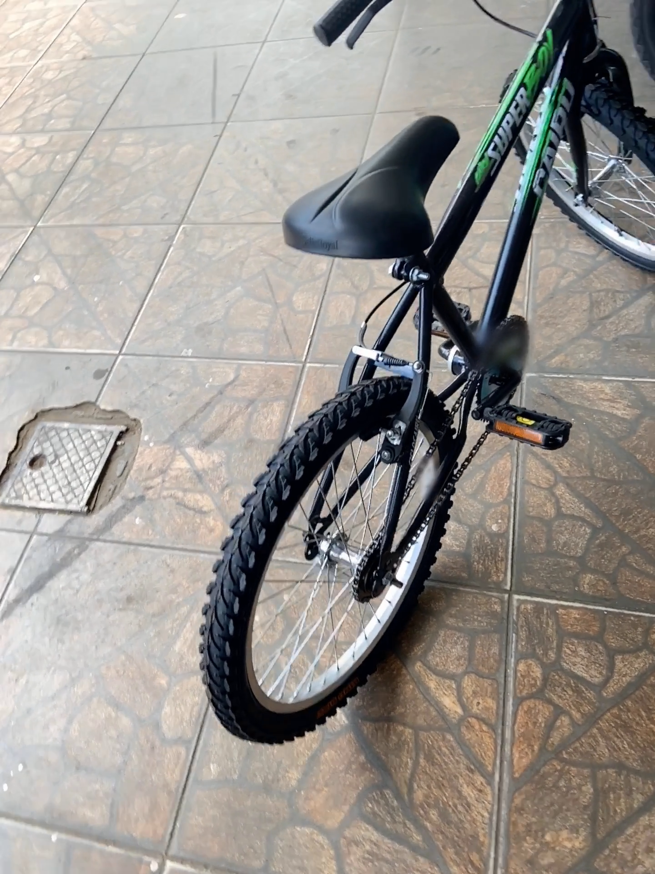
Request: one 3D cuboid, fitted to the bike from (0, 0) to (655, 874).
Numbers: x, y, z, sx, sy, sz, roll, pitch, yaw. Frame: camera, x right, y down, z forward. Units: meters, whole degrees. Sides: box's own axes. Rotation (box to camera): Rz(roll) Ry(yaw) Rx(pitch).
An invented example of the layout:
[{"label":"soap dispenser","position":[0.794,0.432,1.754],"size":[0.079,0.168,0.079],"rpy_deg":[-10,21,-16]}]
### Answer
[{"label":"bike","position":[0.088,-0.257,0.942],"size":[0.599,0.935,1.274],"rpy_deg":[18,59,20]}]
